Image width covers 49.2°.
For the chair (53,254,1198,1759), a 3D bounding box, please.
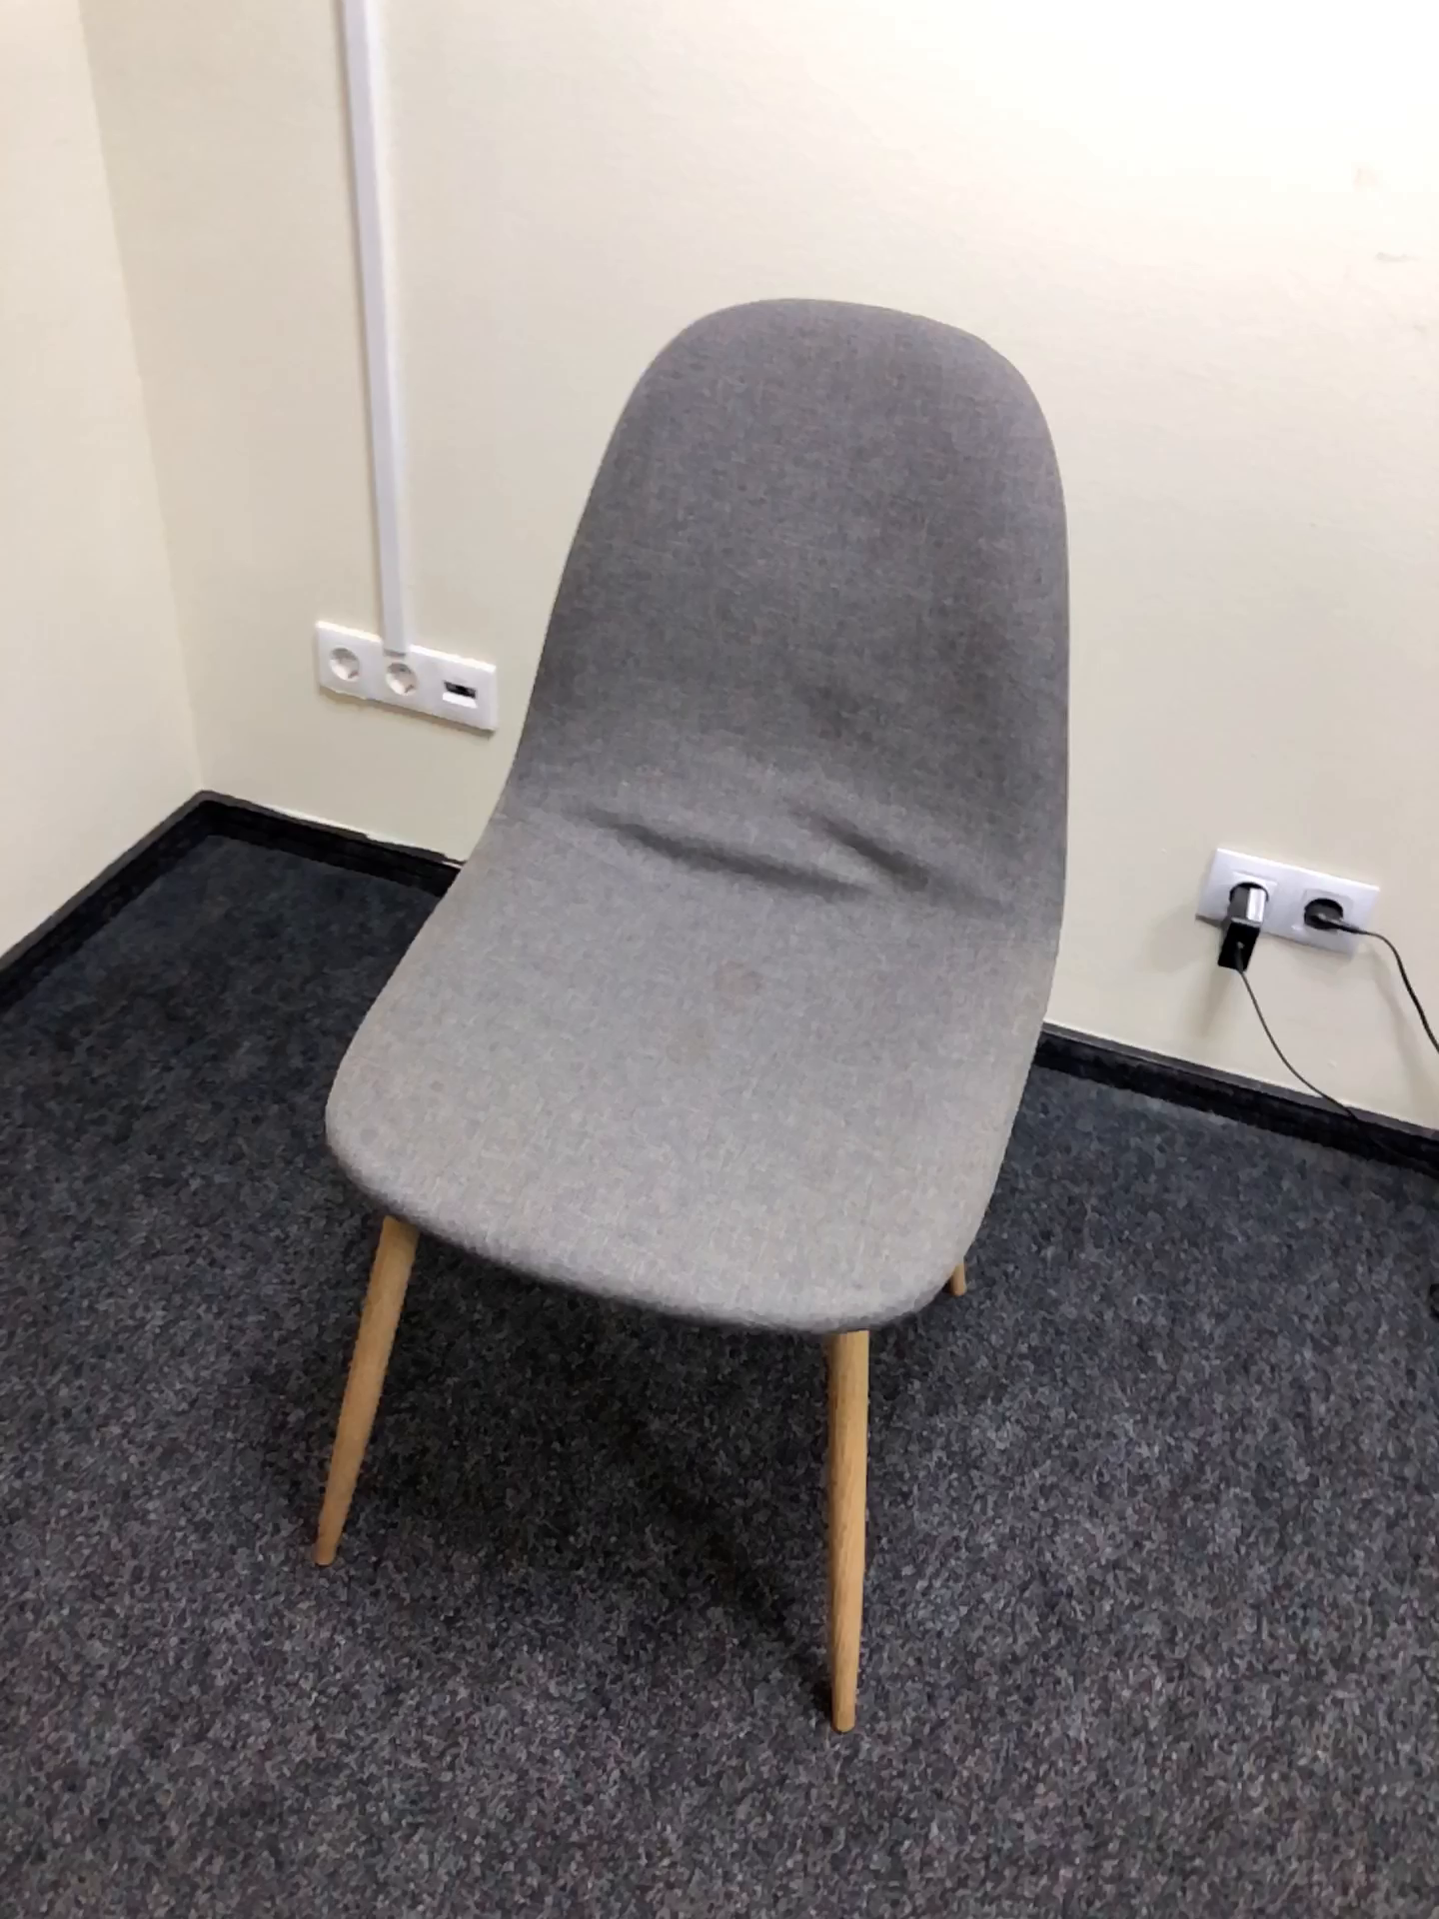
[{"bbox_3d":[-0.011,0.017,1.122,0.470,0.785,0.604,13,39,11],"label":"chair"}]
